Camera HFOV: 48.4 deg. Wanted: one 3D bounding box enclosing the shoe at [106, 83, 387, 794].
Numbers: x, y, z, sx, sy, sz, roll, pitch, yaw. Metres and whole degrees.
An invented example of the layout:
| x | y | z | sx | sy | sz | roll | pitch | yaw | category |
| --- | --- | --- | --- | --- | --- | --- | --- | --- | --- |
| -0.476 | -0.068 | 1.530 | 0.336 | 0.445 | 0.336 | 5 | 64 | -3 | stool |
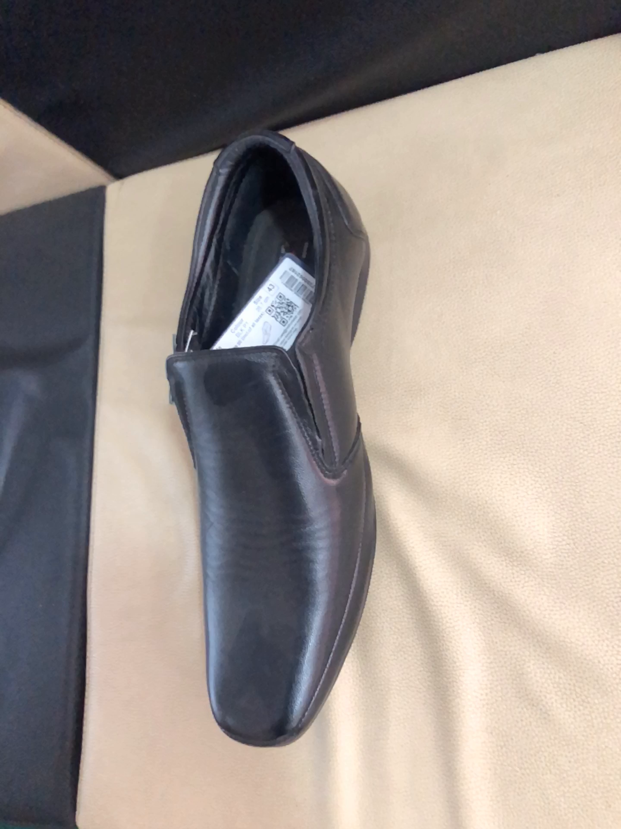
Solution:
| x | y | z | sx | sy | sz | roll | pitch | yaw | category |
| --- | --- | --- | --- | --- | --- | --- | --- | --- | --- |
| -0.025 | 0.006 | 0.369 | 0.100 | 0.090 | 0.320 | -3 | 78 | 26 | shoe |
